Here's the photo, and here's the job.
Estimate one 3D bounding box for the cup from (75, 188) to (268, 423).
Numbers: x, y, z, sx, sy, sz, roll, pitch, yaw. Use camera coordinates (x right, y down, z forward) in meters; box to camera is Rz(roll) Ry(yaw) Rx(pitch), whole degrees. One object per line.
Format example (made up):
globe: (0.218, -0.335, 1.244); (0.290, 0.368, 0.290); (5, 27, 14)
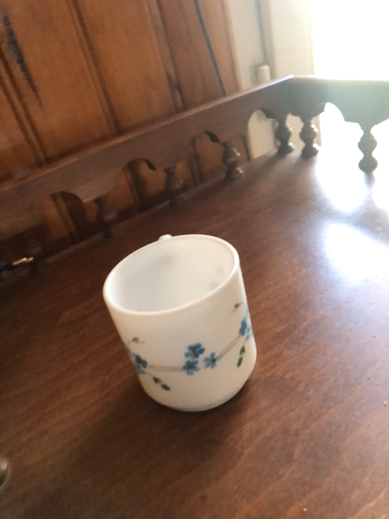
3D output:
cup: (-0.008, 0.017, 0.199); (0.060, 0.060, 0.080); (-13, 31, 4)
